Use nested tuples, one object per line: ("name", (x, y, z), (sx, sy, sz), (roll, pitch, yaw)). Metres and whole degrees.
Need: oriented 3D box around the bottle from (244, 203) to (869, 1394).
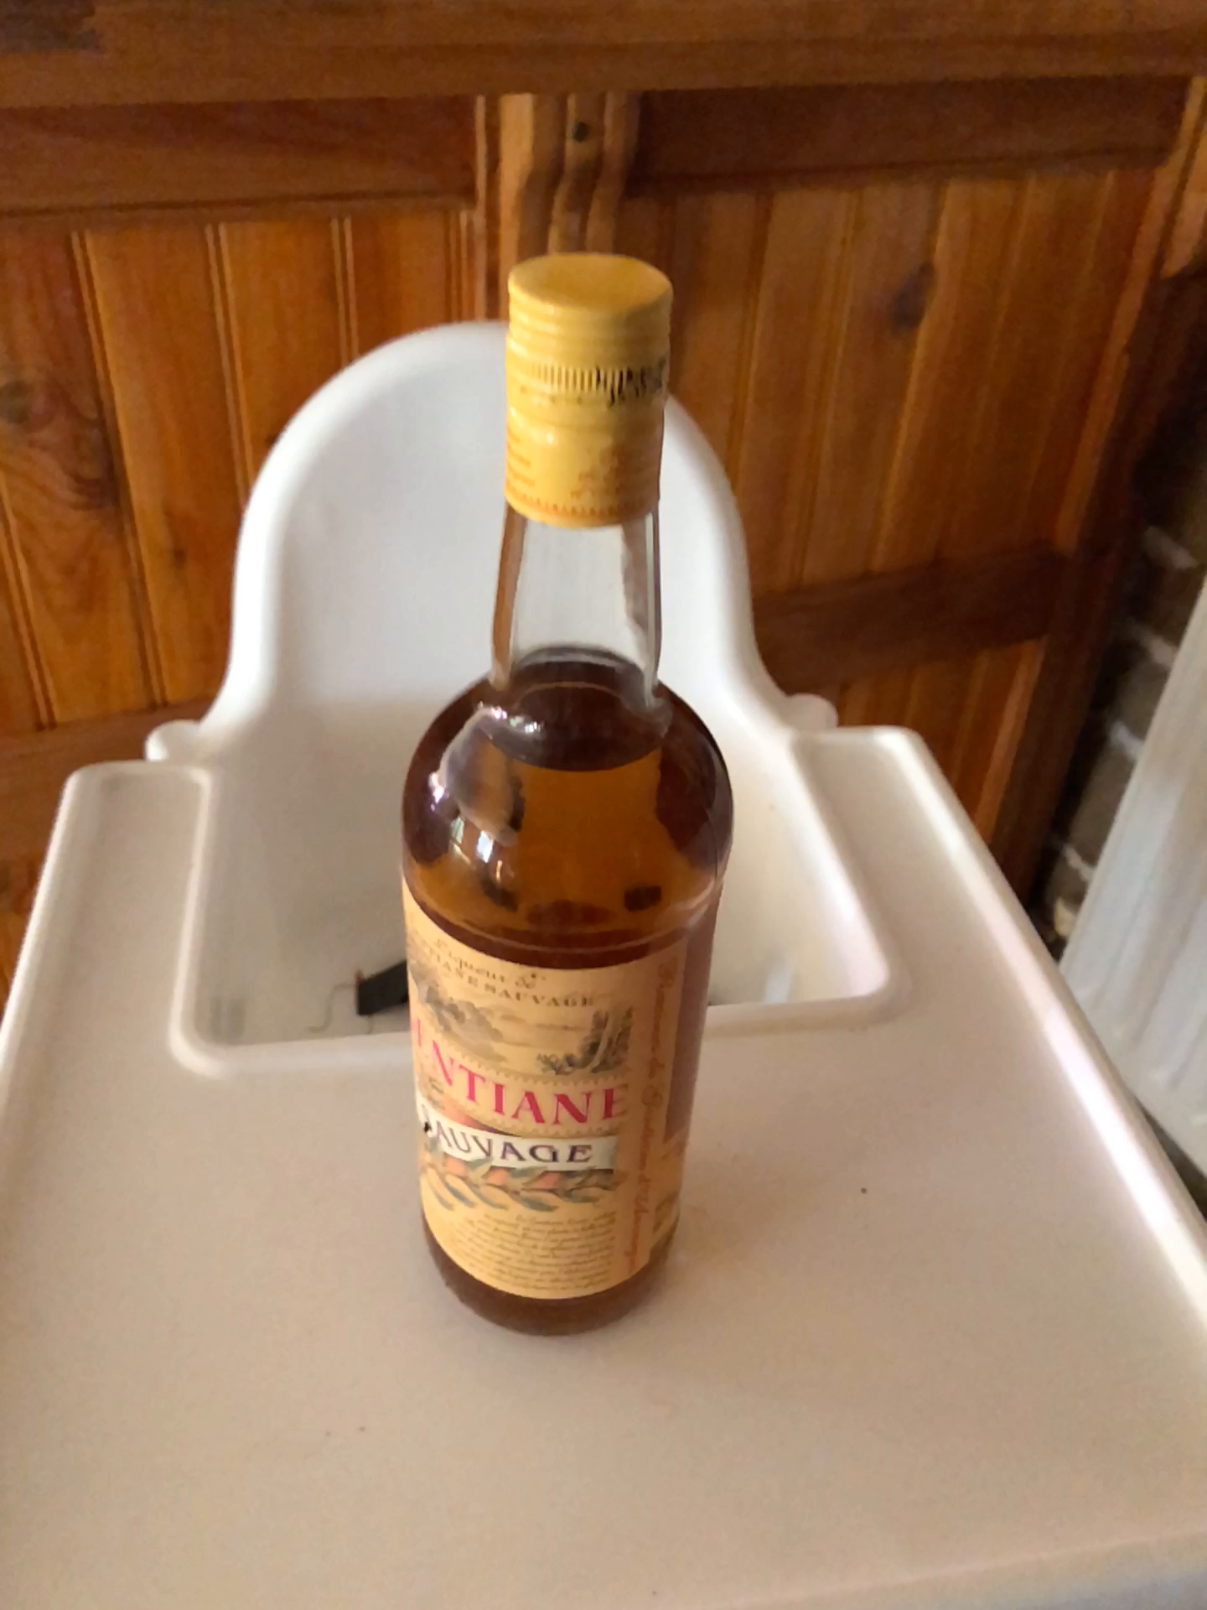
("bottle", (-0.014, 0.019, 0.346), (0.090, 0.298, 0.081), (23, 42, 24))
